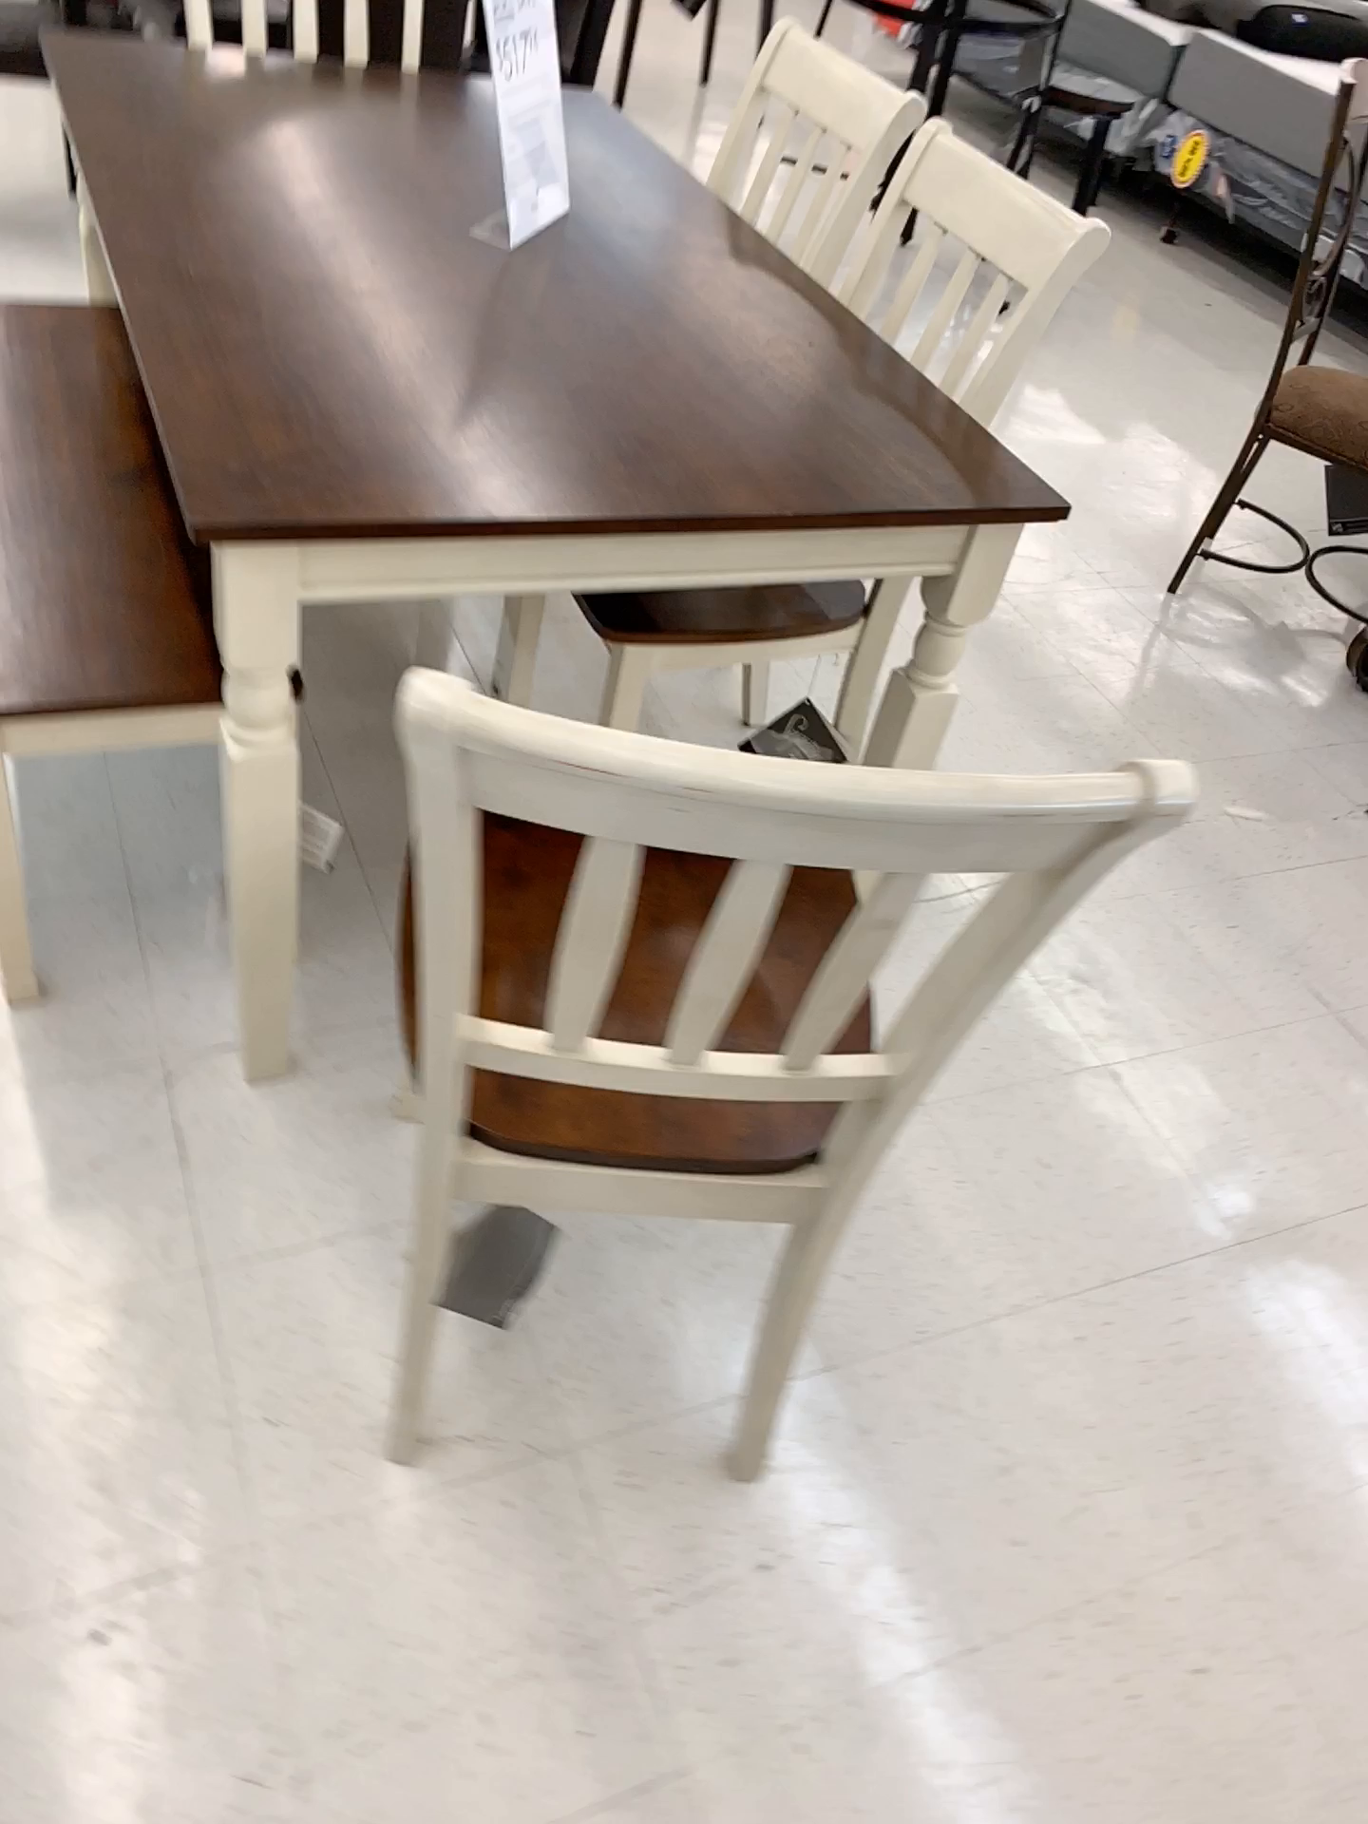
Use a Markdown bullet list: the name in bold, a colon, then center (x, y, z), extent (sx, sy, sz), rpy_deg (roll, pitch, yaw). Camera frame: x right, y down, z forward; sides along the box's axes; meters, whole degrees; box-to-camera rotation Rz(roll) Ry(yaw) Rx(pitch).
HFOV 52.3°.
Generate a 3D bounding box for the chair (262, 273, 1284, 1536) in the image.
- **chair**: center (-0.040, 0.054, 1.208), extent (0.530, 0.905, 0.573), rpy_deg (5, 42, -10)
